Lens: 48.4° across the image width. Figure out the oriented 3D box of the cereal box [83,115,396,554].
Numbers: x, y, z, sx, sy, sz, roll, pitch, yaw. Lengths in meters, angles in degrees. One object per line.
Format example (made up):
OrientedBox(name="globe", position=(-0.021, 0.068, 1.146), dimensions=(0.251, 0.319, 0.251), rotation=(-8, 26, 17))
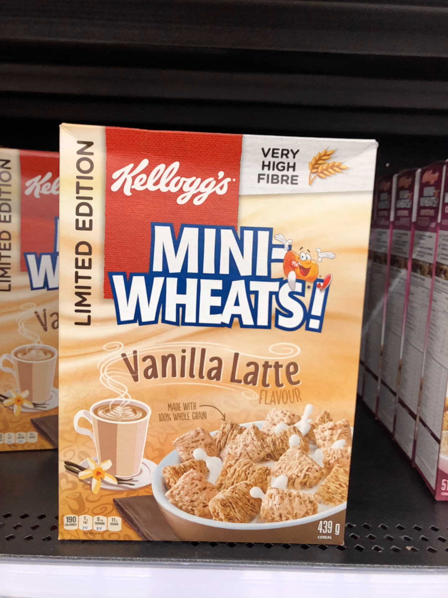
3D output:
OrientedBox(name="cereal box", position=(0.005, 0.027, 0.348), dimensions=(0.190, 0.279, 0.060), rotation=(2, 7, -1))
